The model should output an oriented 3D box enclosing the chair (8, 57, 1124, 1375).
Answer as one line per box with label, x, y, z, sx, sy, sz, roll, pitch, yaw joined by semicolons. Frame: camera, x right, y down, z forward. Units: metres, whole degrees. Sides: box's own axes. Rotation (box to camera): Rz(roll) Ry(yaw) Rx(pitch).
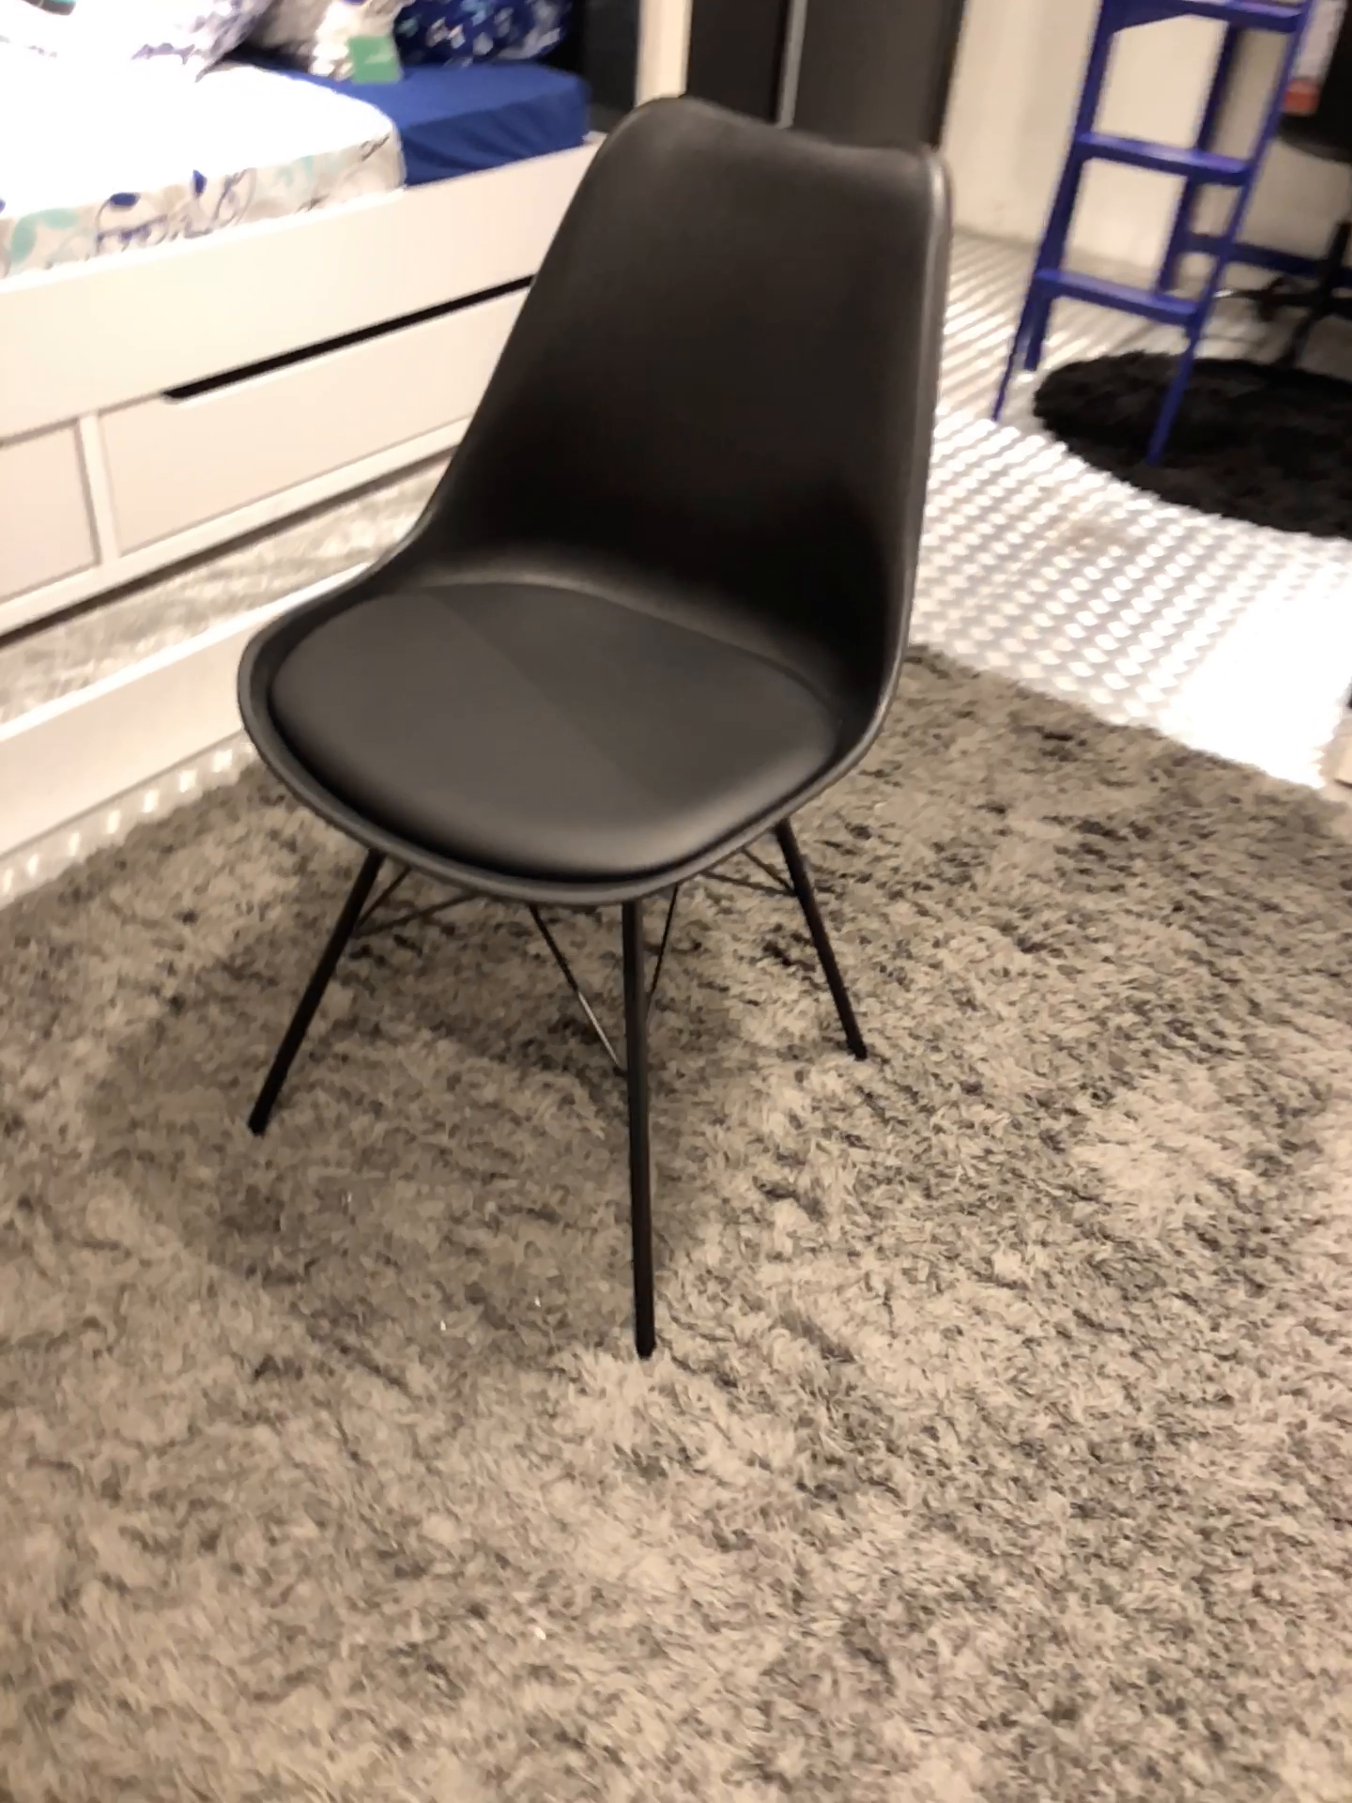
chair;-0.076;-0.172;1.225;0.521;0.804;0.533;25;41;23
